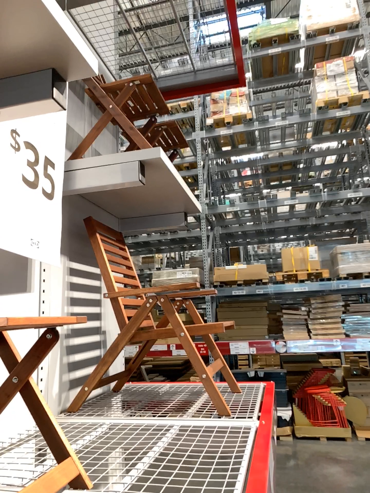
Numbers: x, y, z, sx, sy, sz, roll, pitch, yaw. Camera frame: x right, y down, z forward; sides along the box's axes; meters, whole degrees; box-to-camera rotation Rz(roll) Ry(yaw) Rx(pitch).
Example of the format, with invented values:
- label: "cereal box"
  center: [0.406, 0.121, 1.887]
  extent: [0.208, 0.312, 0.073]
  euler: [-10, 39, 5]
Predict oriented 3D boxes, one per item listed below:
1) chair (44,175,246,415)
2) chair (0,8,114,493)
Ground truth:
- label: "chair"
  center: [-0.176, 0.270, 2.052]
  extent: [0.891, 1.057, 0.613]
  euler: [-5, -11, 12]
- label: "chair"
  center: [-0.584, 0.141, 0.858]
  extent: [0.631, 0.887, 0.613]
  euler: [-5, -11, 12]
